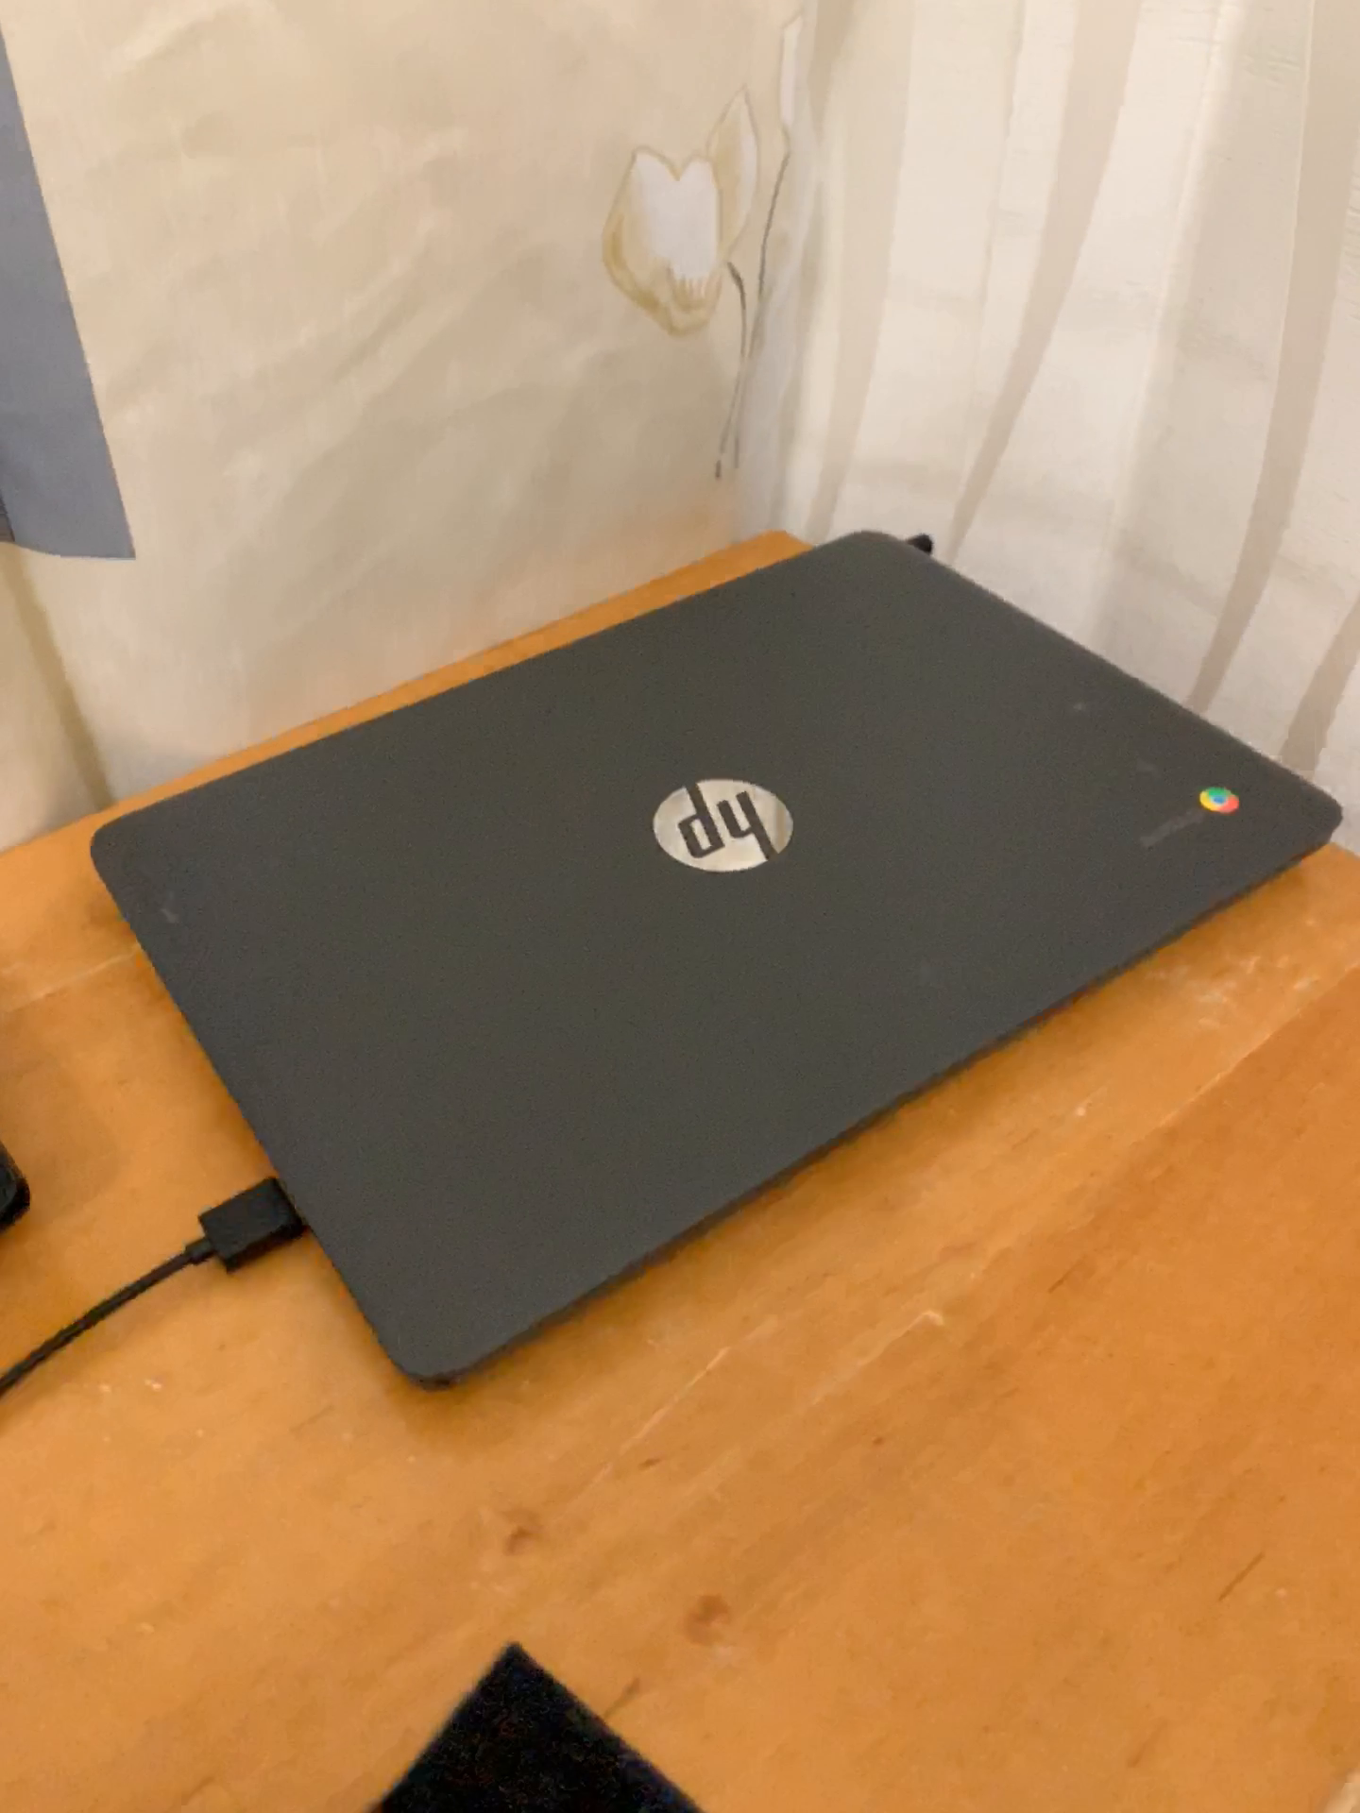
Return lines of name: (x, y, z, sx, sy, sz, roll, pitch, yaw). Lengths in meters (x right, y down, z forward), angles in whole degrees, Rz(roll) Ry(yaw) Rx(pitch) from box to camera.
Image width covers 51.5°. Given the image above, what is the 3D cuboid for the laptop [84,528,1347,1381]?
laptop: (0.008, -0.022, 0.383, 0.282, 0.002, 0.195, -27, 49, -24)
